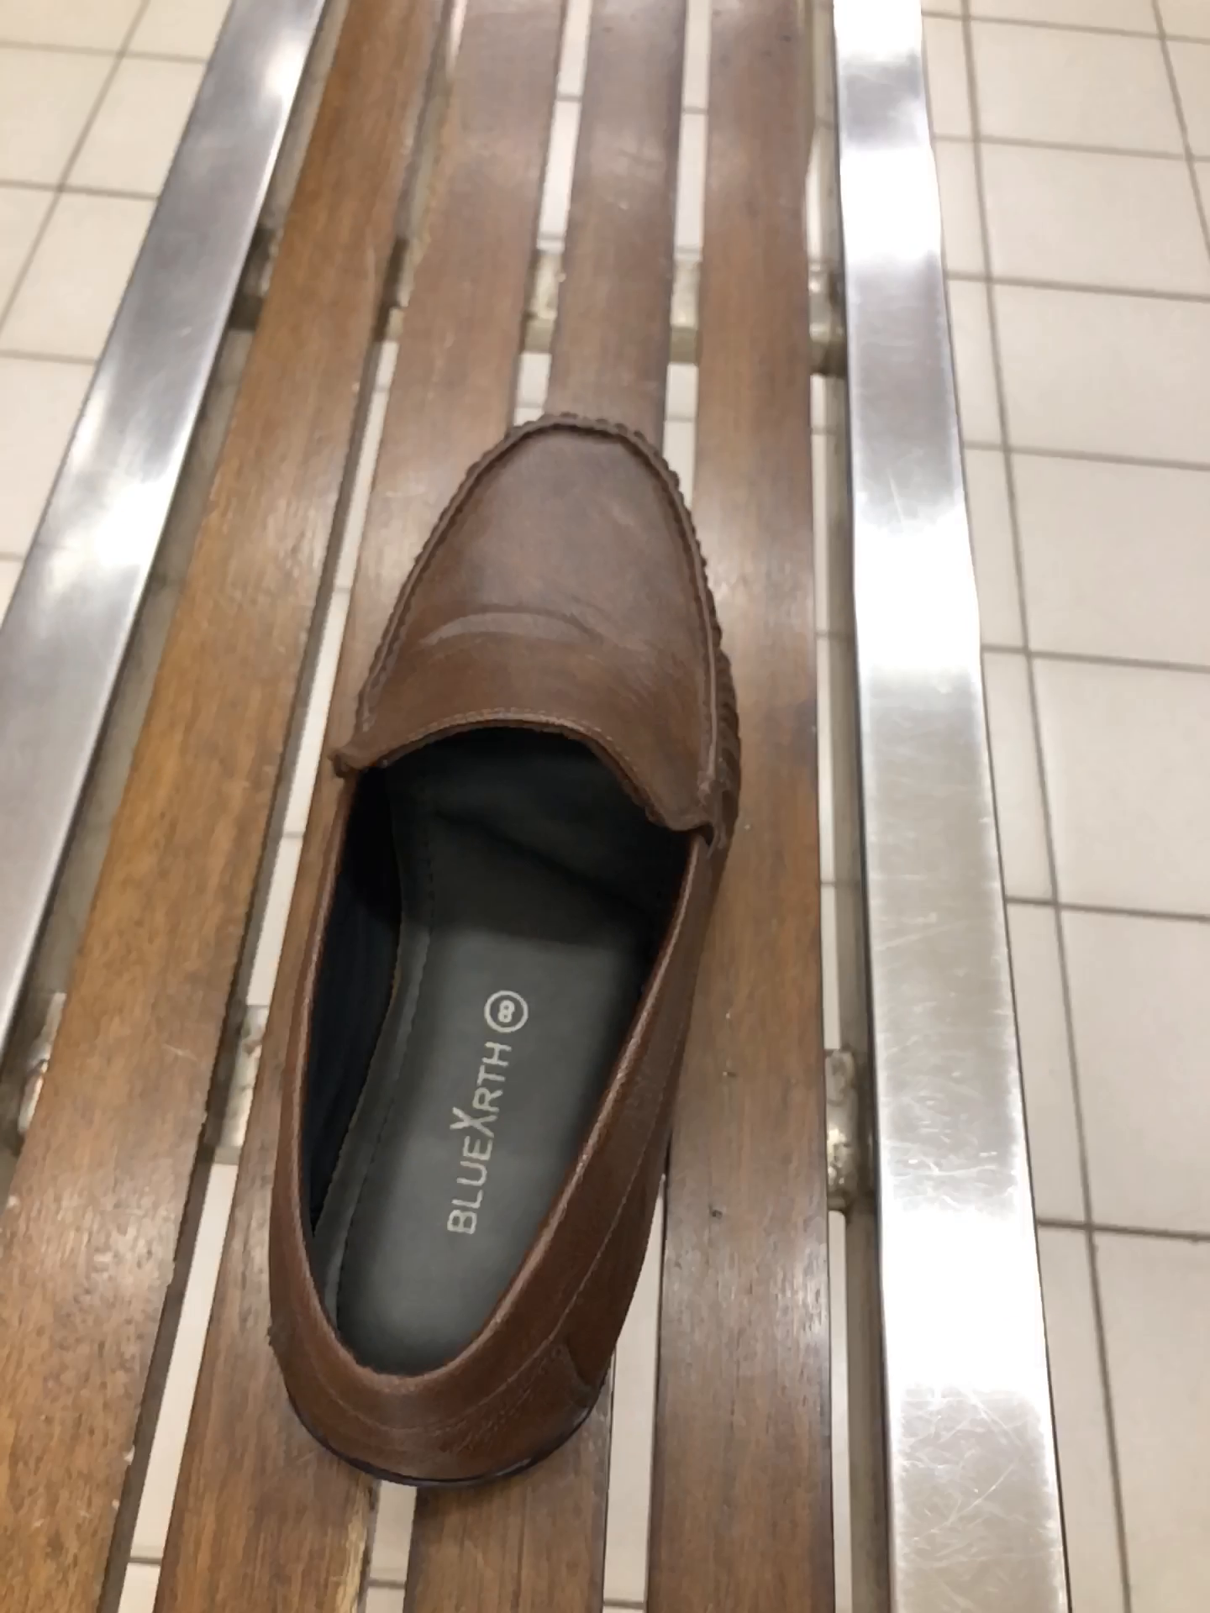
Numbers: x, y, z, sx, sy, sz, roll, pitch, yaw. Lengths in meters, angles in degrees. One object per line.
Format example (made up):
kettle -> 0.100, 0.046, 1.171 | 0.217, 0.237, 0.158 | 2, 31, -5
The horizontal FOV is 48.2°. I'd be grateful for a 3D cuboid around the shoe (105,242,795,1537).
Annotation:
shoe -> -0.016, 0.003, 0.336 | 0.104, 0.093, 0.302 | 6, 60, 1
